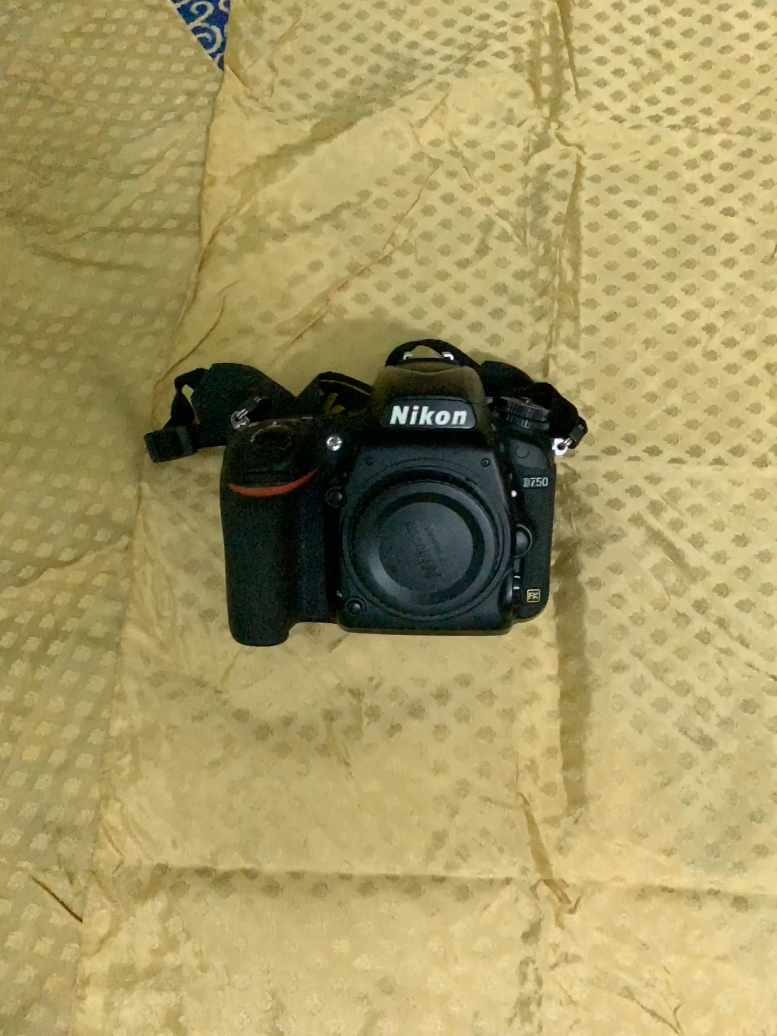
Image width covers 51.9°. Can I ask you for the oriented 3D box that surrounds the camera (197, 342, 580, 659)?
[{"bbox_3d":[0.000,-0.011,0.322,0.130,0.073,0.110,1,106,2],"label":"camera"}]
